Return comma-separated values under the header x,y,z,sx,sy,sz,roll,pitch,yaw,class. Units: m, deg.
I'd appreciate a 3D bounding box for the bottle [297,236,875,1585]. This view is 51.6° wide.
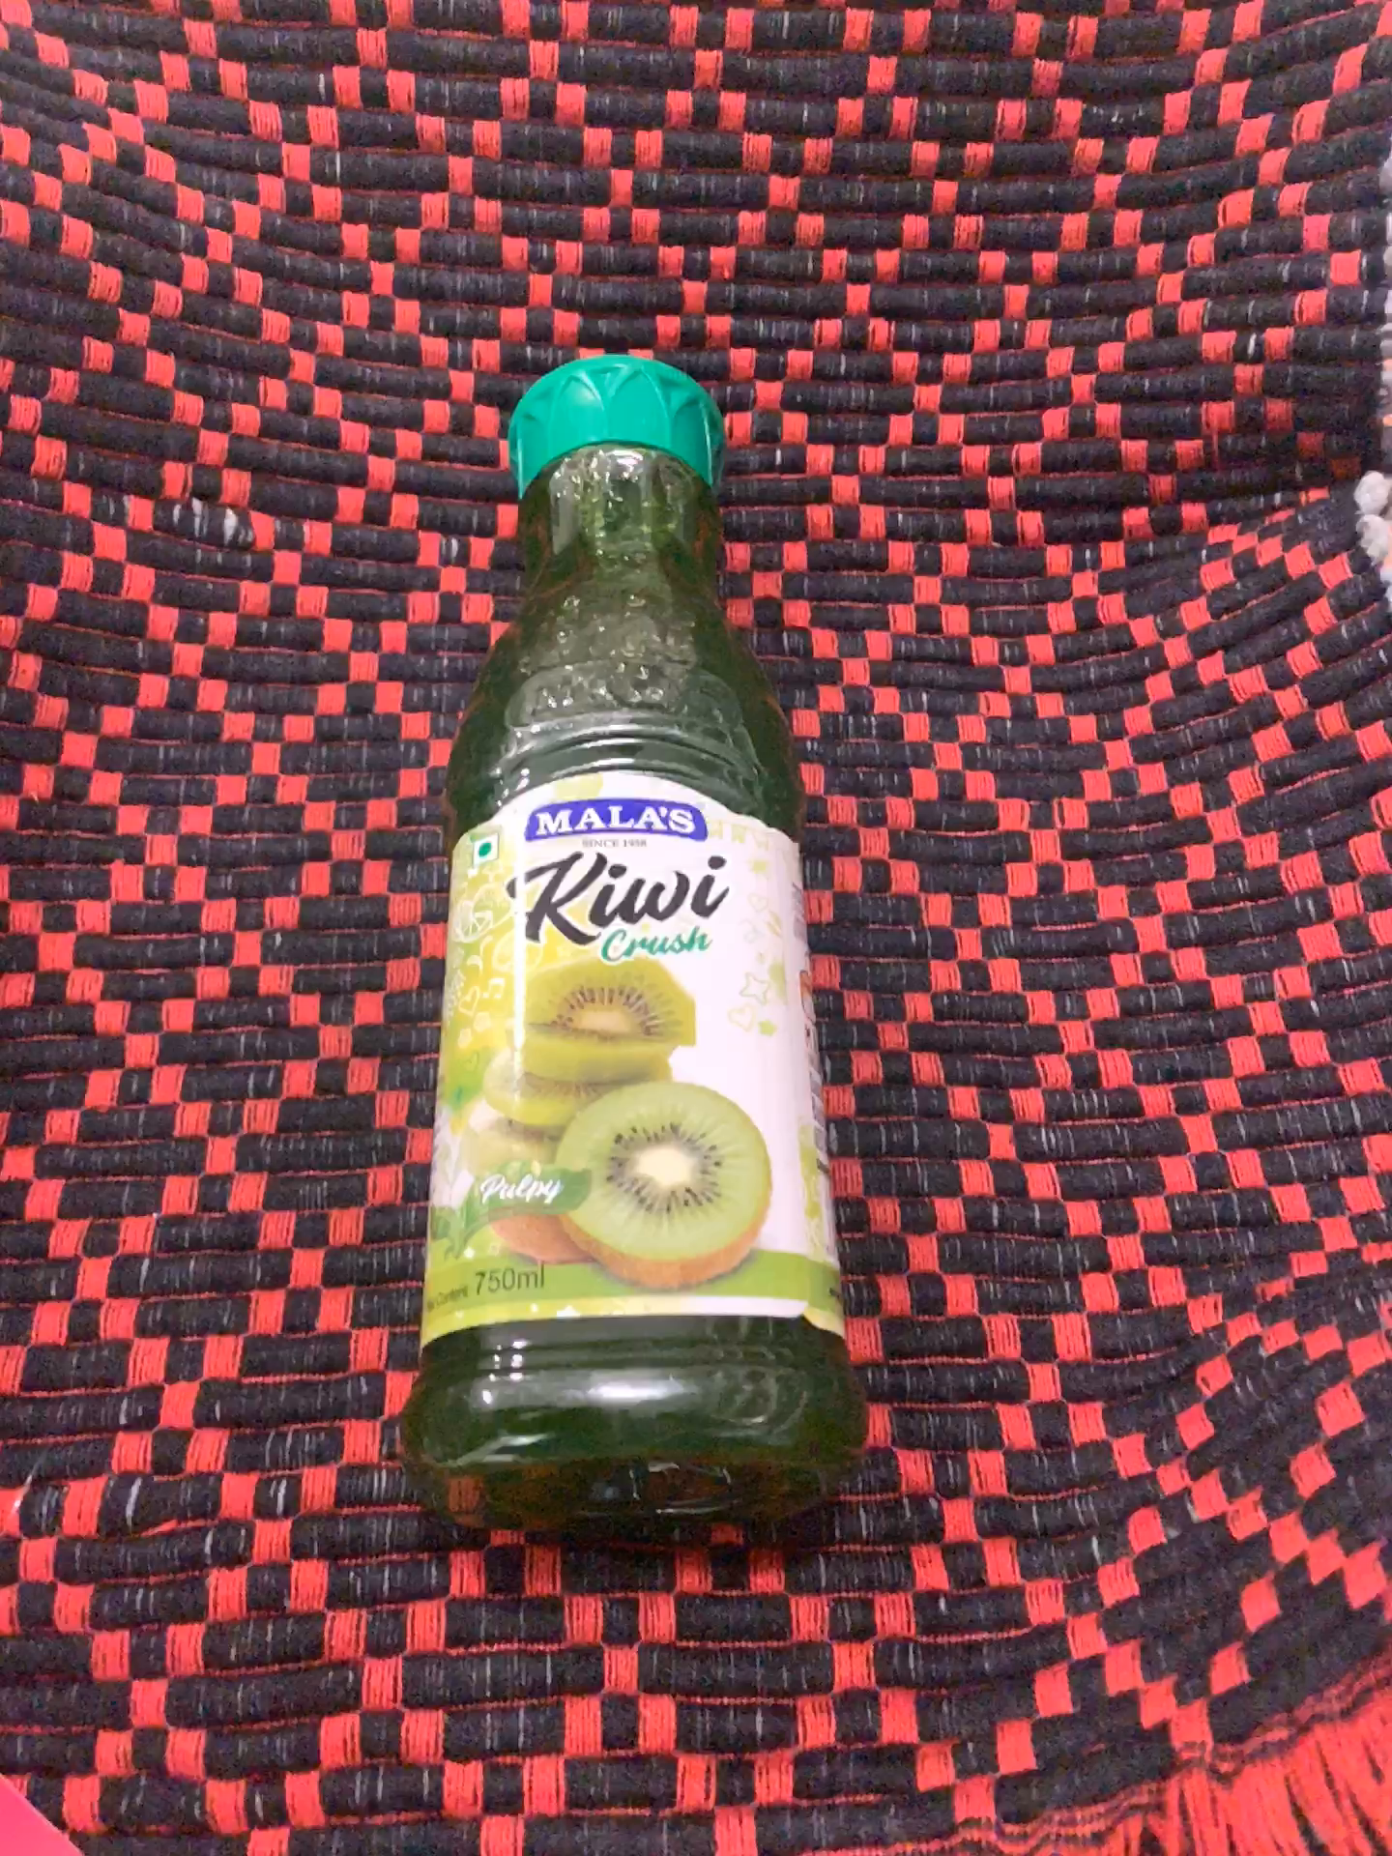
x,y,z,sx,sy,sz,roll,pitch,yaw,class
-0.019,-0.021,0.280,0.070,0.080,0.261,0,56,-4,bottle
